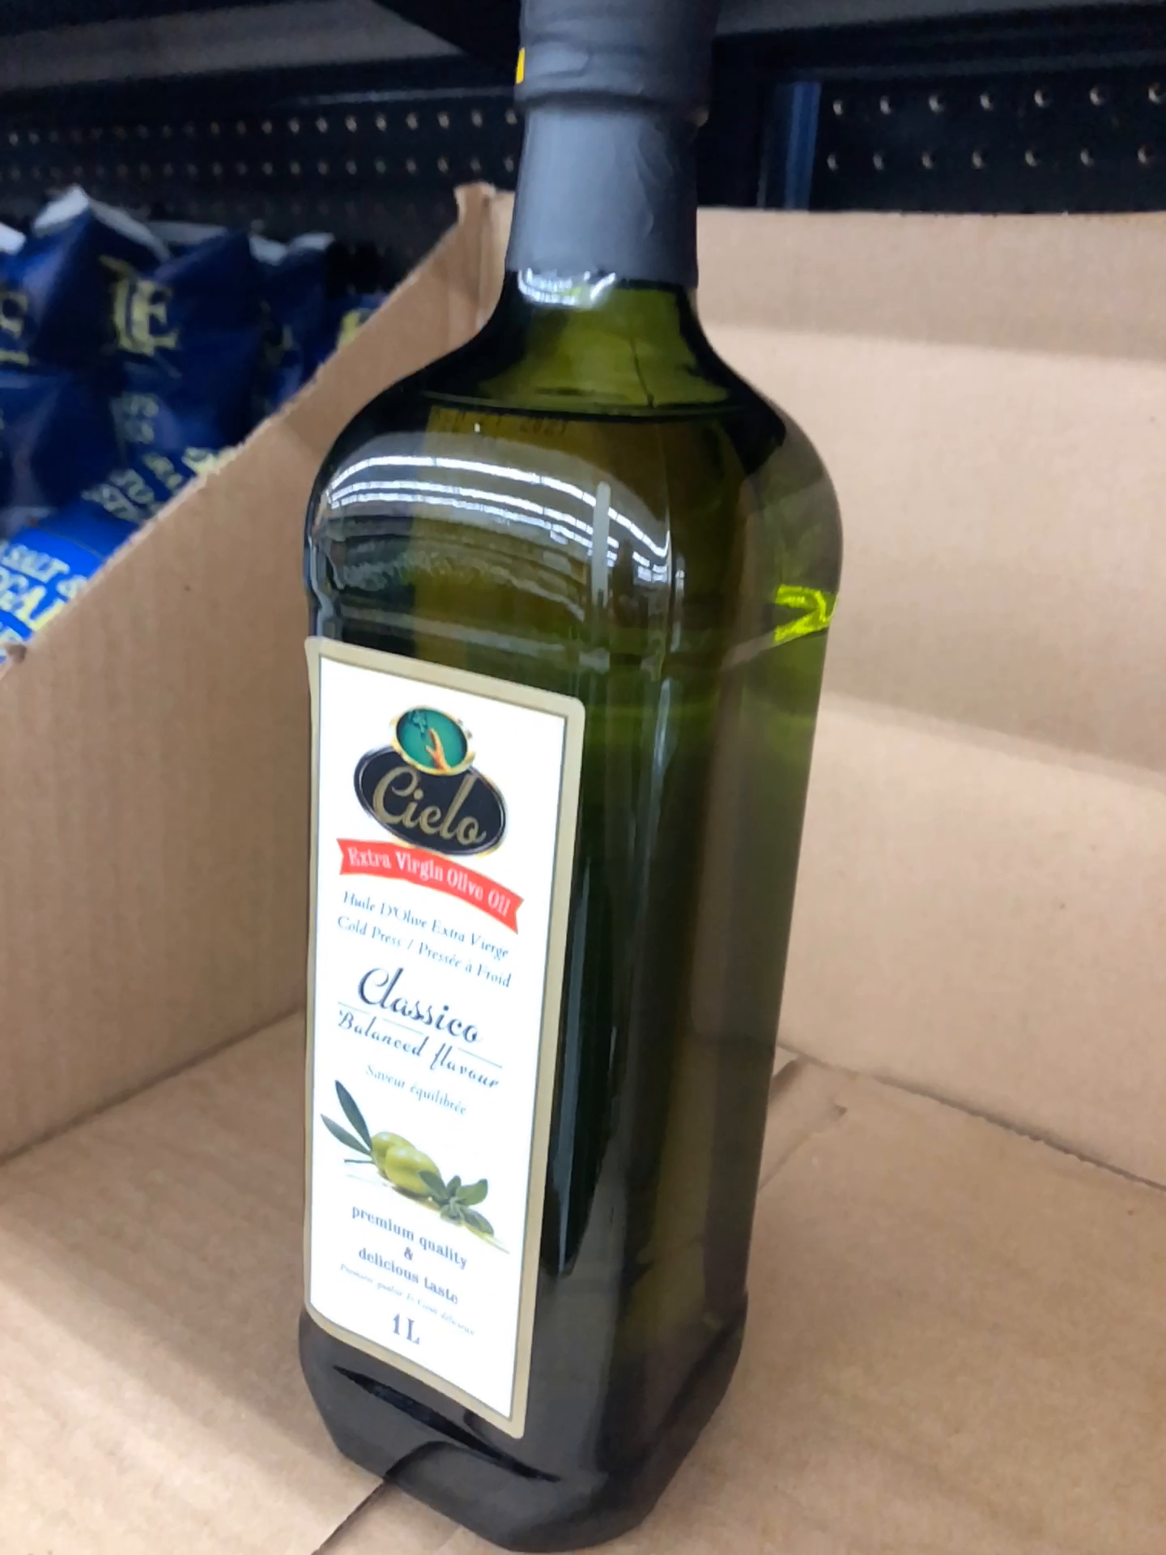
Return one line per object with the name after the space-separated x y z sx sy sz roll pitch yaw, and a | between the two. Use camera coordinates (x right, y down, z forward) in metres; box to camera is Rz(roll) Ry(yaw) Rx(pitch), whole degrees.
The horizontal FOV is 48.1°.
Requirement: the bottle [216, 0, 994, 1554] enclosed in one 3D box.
0.000 0.002 0.246 0.090 0.288 0.080 14 22 29 | bottle
